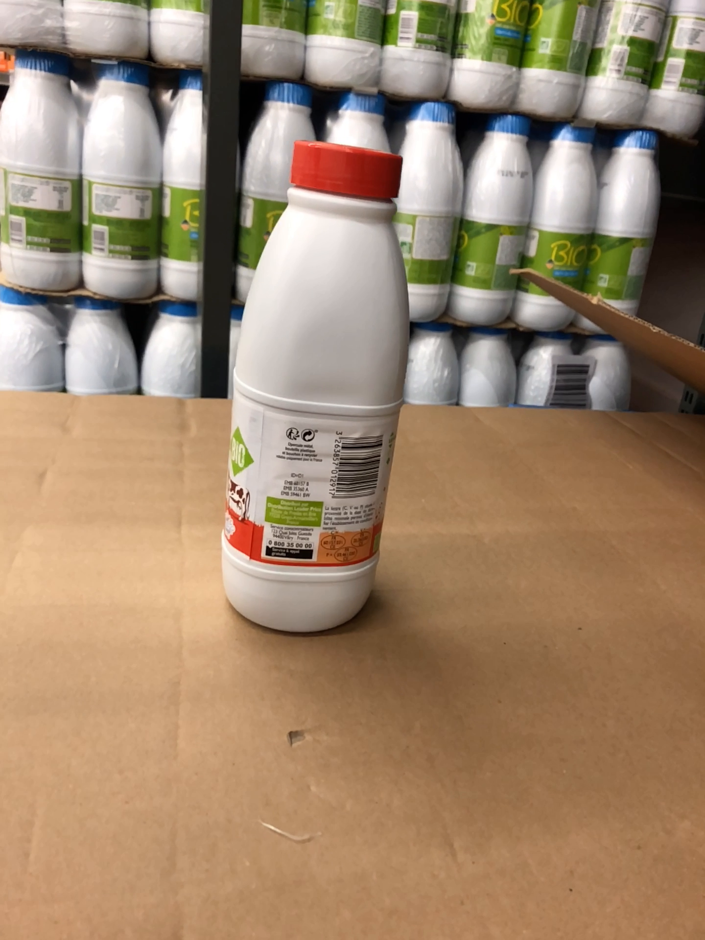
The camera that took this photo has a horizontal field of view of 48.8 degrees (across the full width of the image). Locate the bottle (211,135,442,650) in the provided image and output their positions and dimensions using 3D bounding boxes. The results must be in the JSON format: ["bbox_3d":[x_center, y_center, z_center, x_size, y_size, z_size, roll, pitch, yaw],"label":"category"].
[{"bbox_3d":[-0.024,-0.036,0.383,0.080,0.229,0.090,1,22,-13],"label":"bottle"}]
